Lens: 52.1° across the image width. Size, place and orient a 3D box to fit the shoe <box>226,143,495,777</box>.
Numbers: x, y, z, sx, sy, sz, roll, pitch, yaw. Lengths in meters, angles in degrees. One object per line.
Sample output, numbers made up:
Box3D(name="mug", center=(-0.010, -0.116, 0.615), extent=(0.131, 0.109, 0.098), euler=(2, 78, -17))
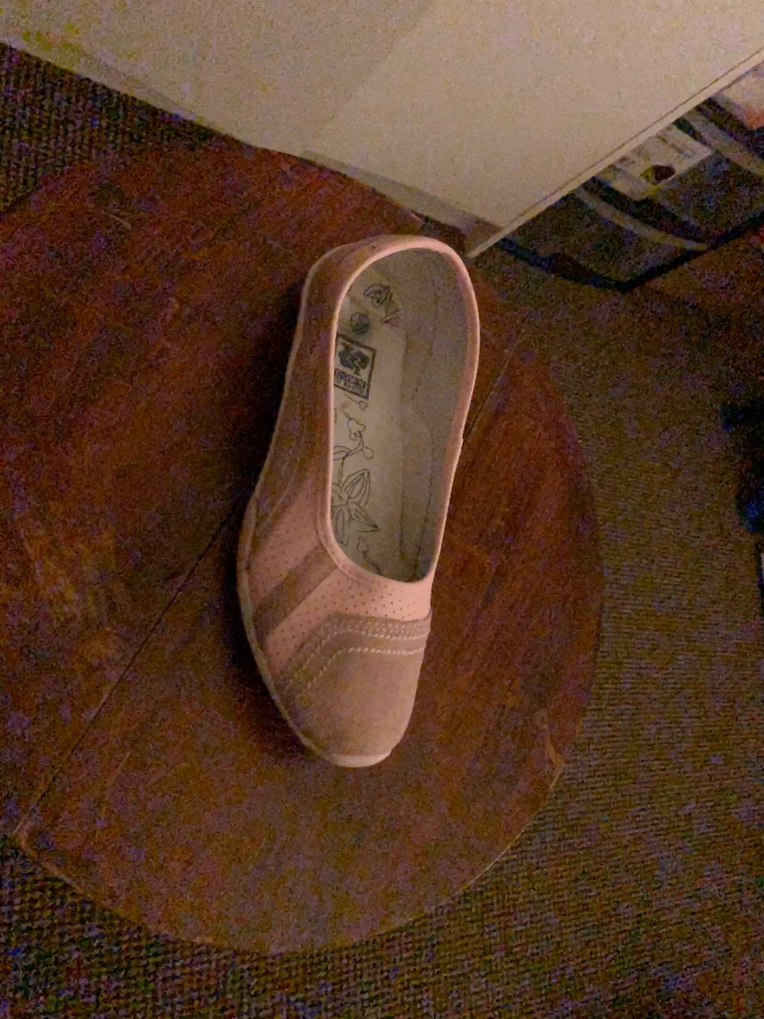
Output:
Box3D(name="shoe", center=(-0.007, -0.020, 0.367), extent=(0.090, 0.070, 0.271), euler=(12, 71, -33))
